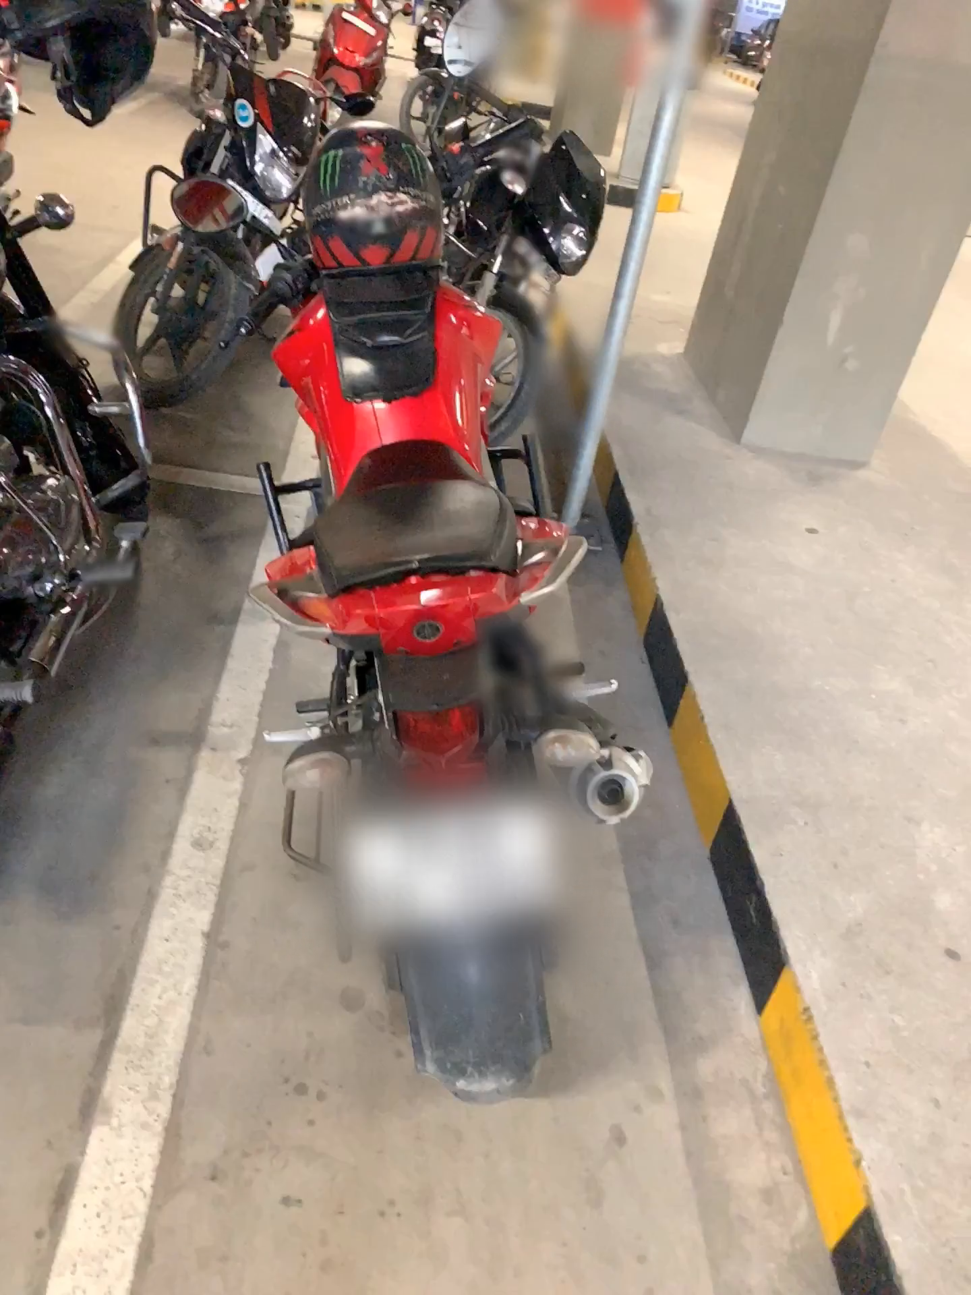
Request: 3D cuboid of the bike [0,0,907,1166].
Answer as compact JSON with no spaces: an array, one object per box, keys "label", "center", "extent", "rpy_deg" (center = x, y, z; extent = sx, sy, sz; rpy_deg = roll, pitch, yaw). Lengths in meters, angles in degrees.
[{"label":"bike","center":[-0.321,-0.290,1.662],"extent":[0.677,1.122,1.691],"rpy_deg":[-1,37,-18]}]
